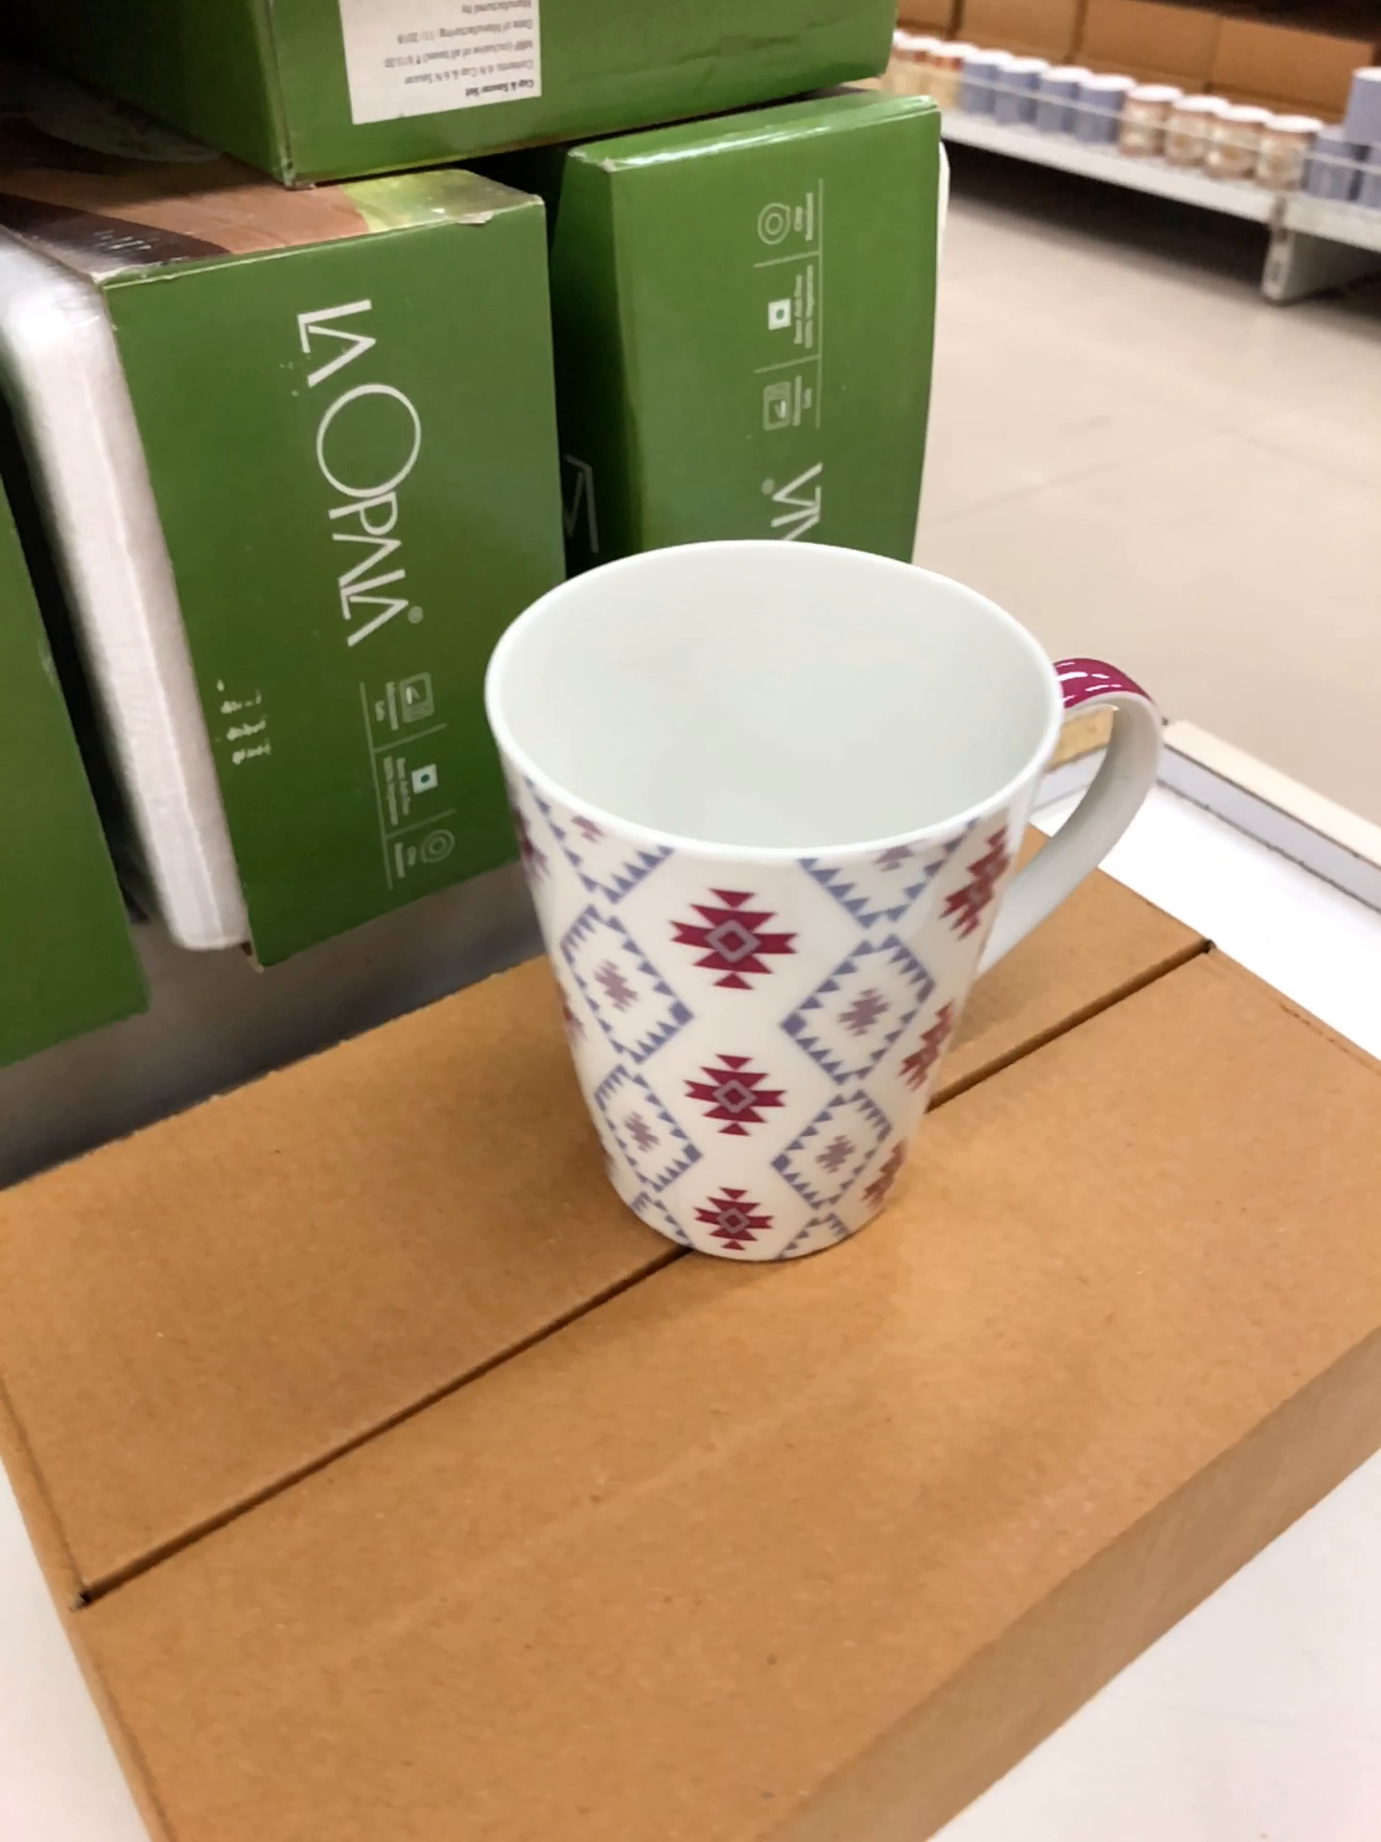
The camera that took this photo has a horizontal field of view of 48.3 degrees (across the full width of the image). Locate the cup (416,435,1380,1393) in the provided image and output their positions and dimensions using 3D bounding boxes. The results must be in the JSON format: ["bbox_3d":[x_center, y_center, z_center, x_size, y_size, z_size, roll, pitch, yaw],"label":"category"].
[{"bbox_3d":[0.031,-0.007,0.251,0.120,0.099,0.080,-17,41,-20],"label":"cup"}]
